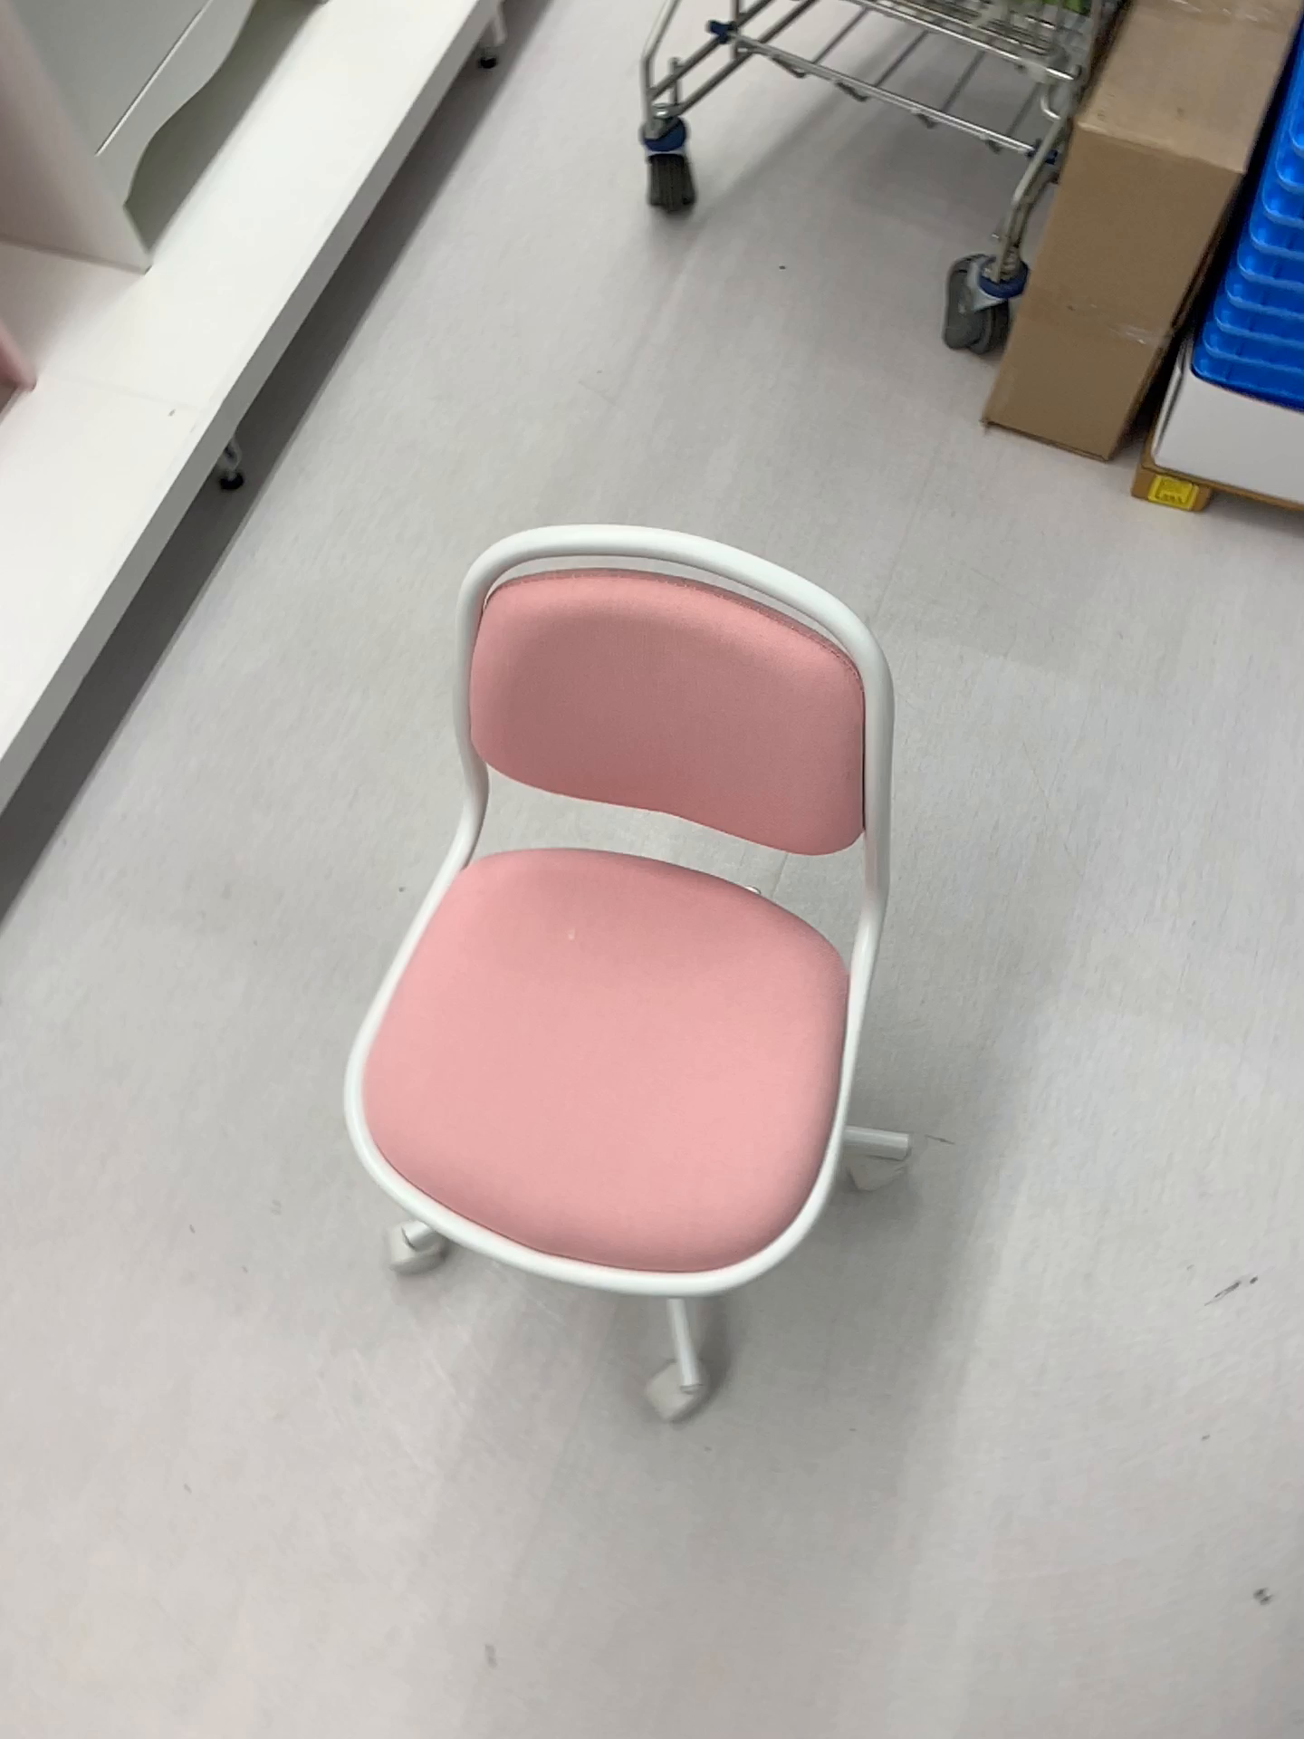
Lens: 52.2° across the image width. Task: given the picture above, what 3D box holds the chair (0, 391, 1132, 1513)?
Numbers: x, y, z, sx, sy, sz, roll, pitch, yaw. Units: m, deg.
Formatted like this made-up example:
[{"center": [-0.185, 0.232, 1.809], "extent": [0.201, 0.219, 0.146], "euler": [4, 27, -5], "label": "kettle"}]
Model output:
[{"center": [-0.040, 0.125, 1.068], "extent": [0.560, 0.699, 0.530], "euler": [16, 68, 10], "label": "chair"}]
